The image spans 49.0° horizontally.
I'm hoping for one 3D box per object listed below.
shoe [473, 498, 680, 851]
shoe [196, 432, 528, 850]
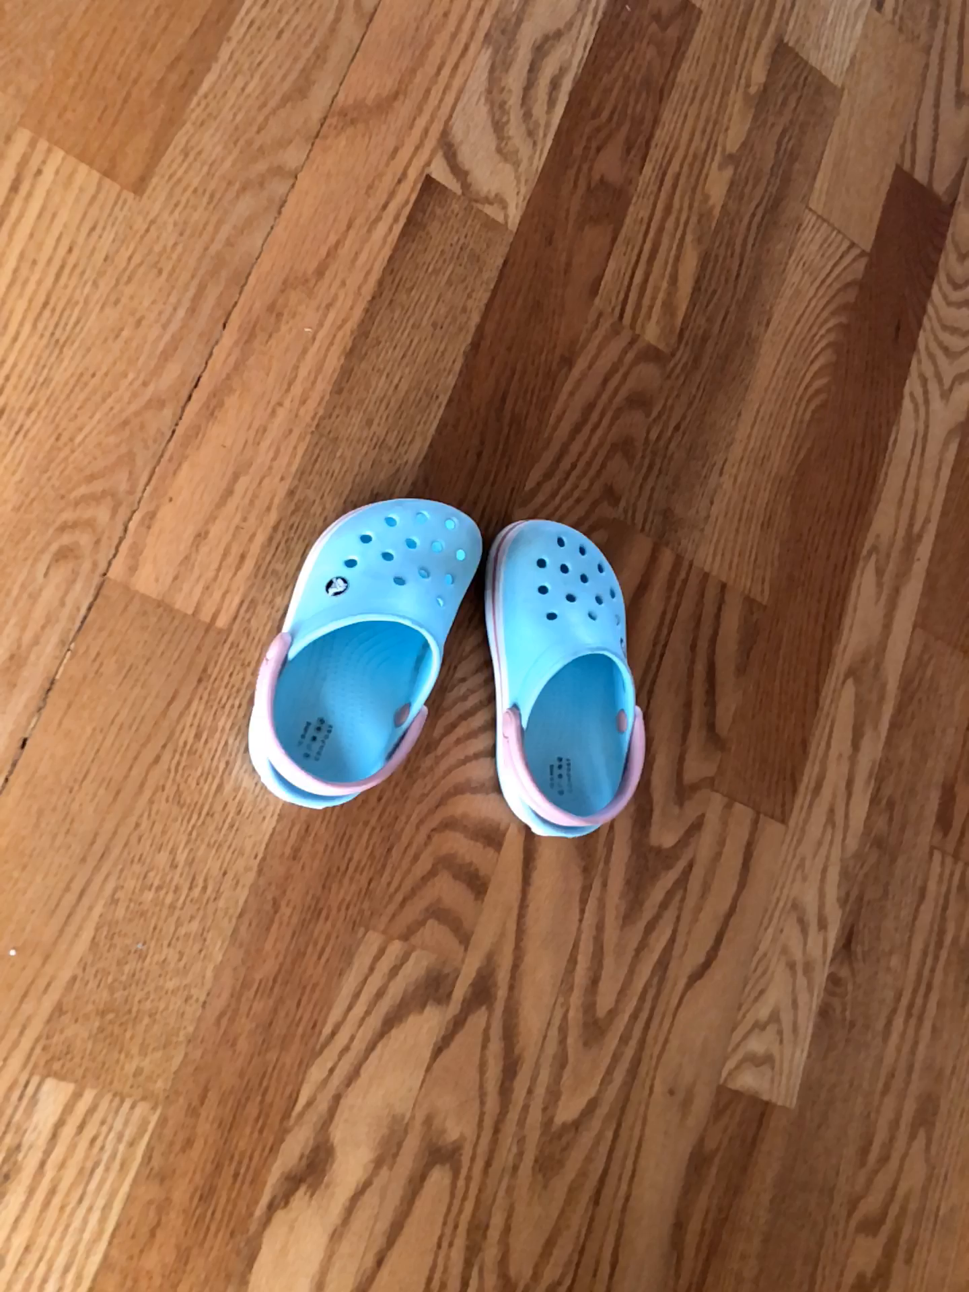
[{"bbox_3d":[0.045,0.015,0.534,0.083,0.048,0.165,1,82,-26],"label":"shoe"},{"bbox_3d":[-0.054,-0.001,0.491,0.083,0.057,0.165,27,72,-21],"label":"shoe"}]
